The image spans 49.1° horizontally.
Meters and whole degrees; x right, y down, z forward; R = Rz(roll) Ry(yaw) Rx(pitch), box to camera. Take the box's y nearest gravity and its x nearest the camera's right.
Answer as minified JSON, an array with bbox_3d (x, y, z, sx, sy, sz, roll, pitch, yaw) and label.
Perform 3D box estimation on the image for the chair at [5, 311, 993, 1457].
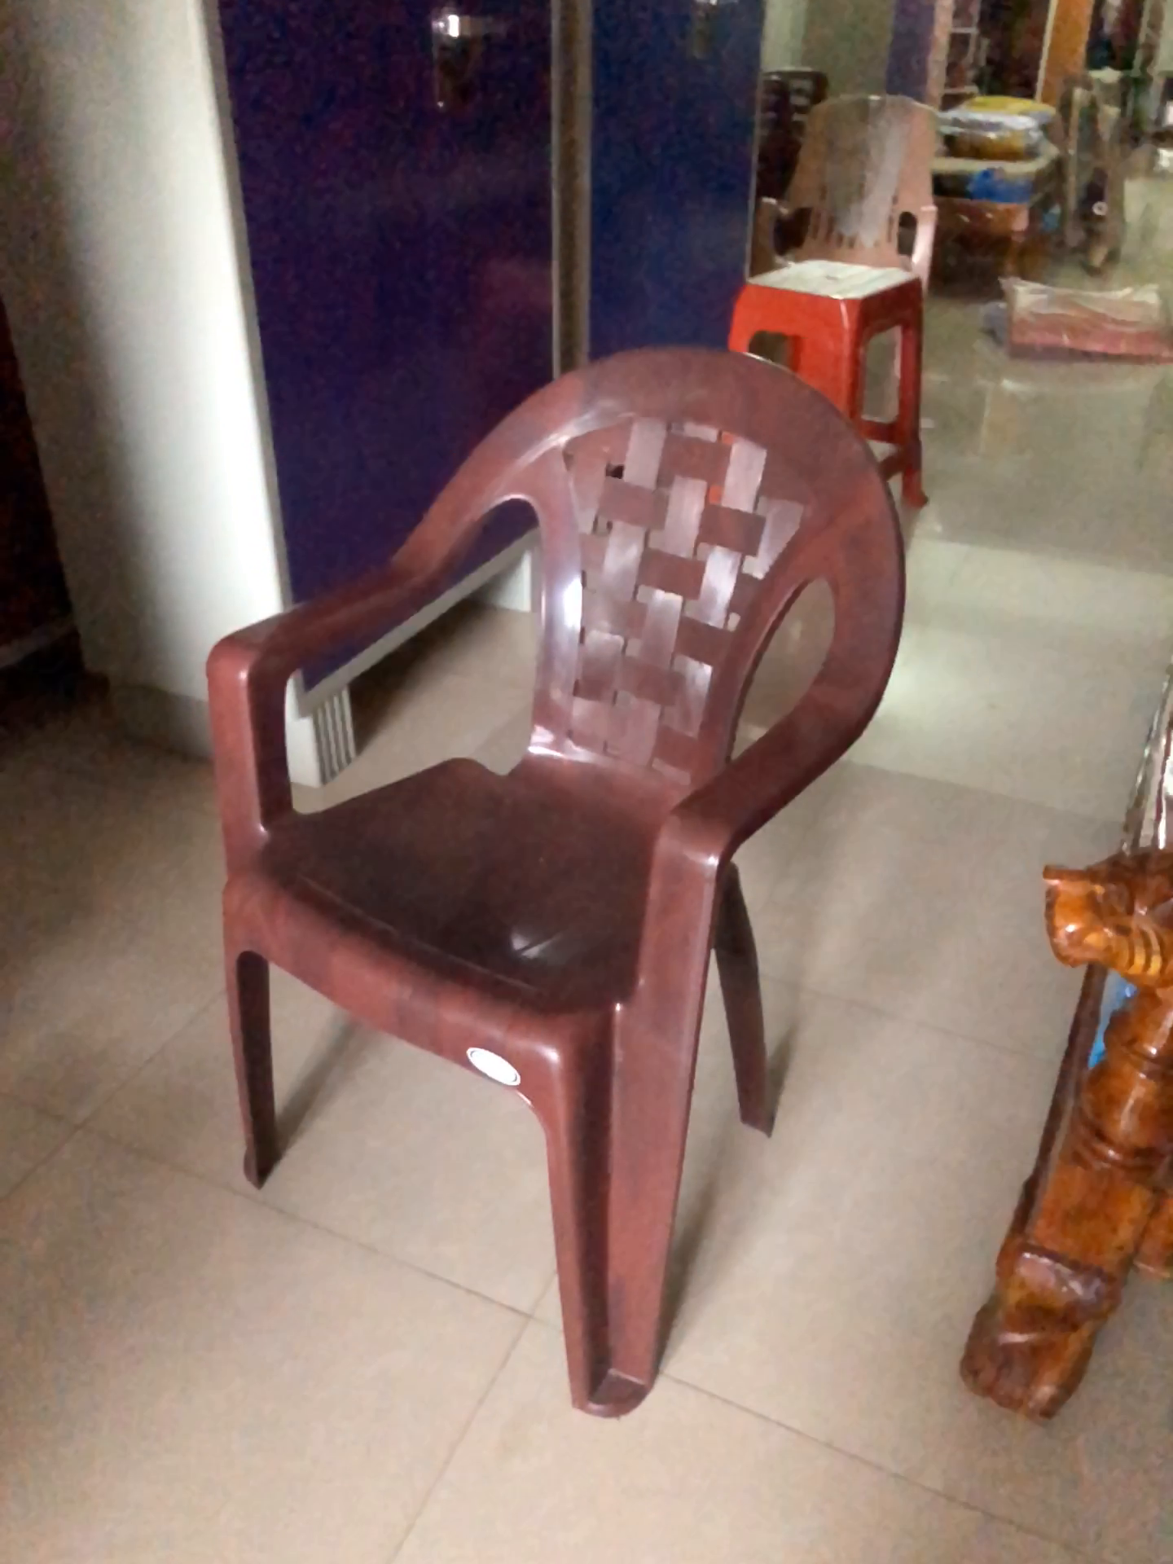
[{"bbox_3d":[-0.045,0.043,1.323,0.600,0.835,0.613,19,37,28],"label":"chair"}]
